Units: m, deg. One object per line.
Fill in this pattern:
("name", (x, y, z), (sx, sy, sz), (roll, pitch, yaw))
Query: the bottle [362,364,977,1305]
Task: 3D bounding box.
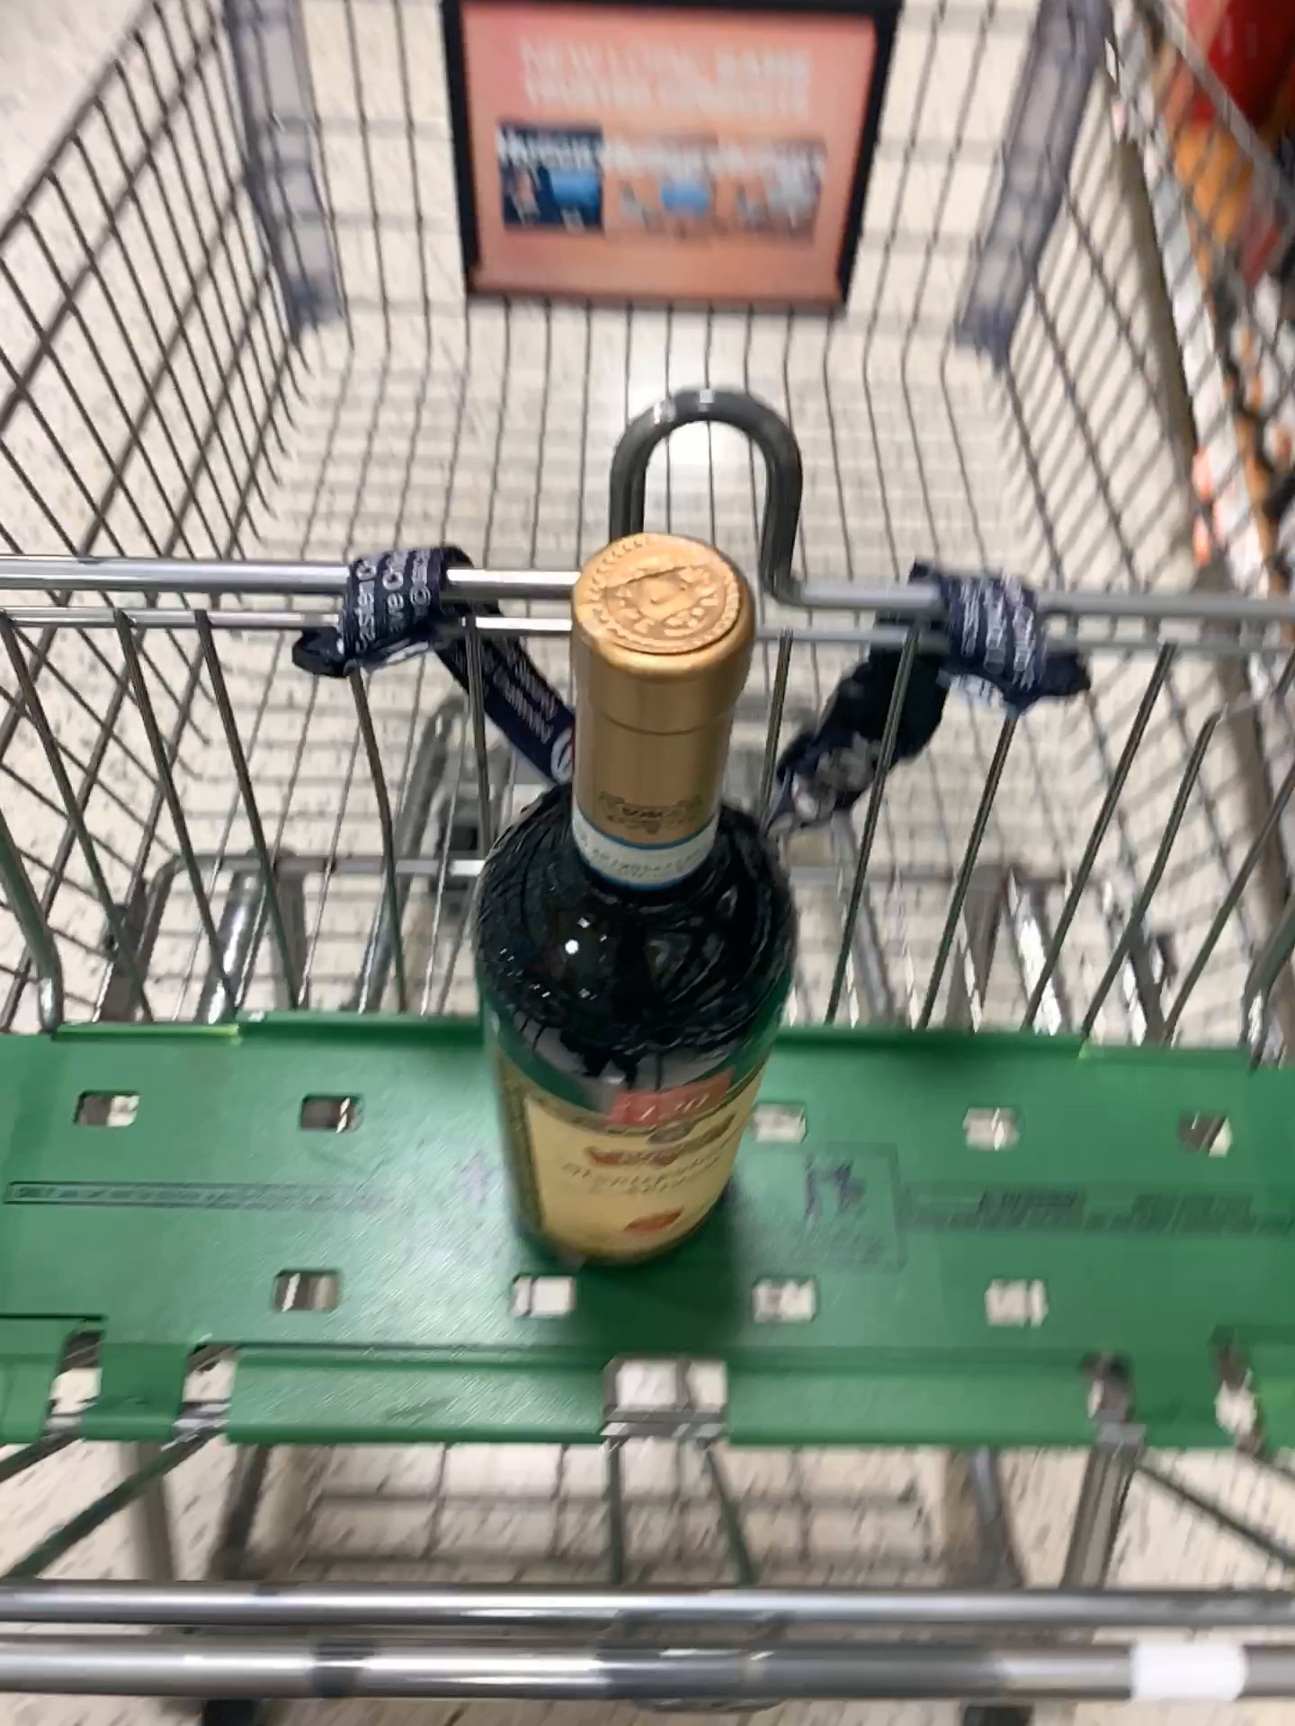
("bottle", (-0.005, 0.025, 0.325), (0.080, 0.277, 0.081), (1, 58, -2))
